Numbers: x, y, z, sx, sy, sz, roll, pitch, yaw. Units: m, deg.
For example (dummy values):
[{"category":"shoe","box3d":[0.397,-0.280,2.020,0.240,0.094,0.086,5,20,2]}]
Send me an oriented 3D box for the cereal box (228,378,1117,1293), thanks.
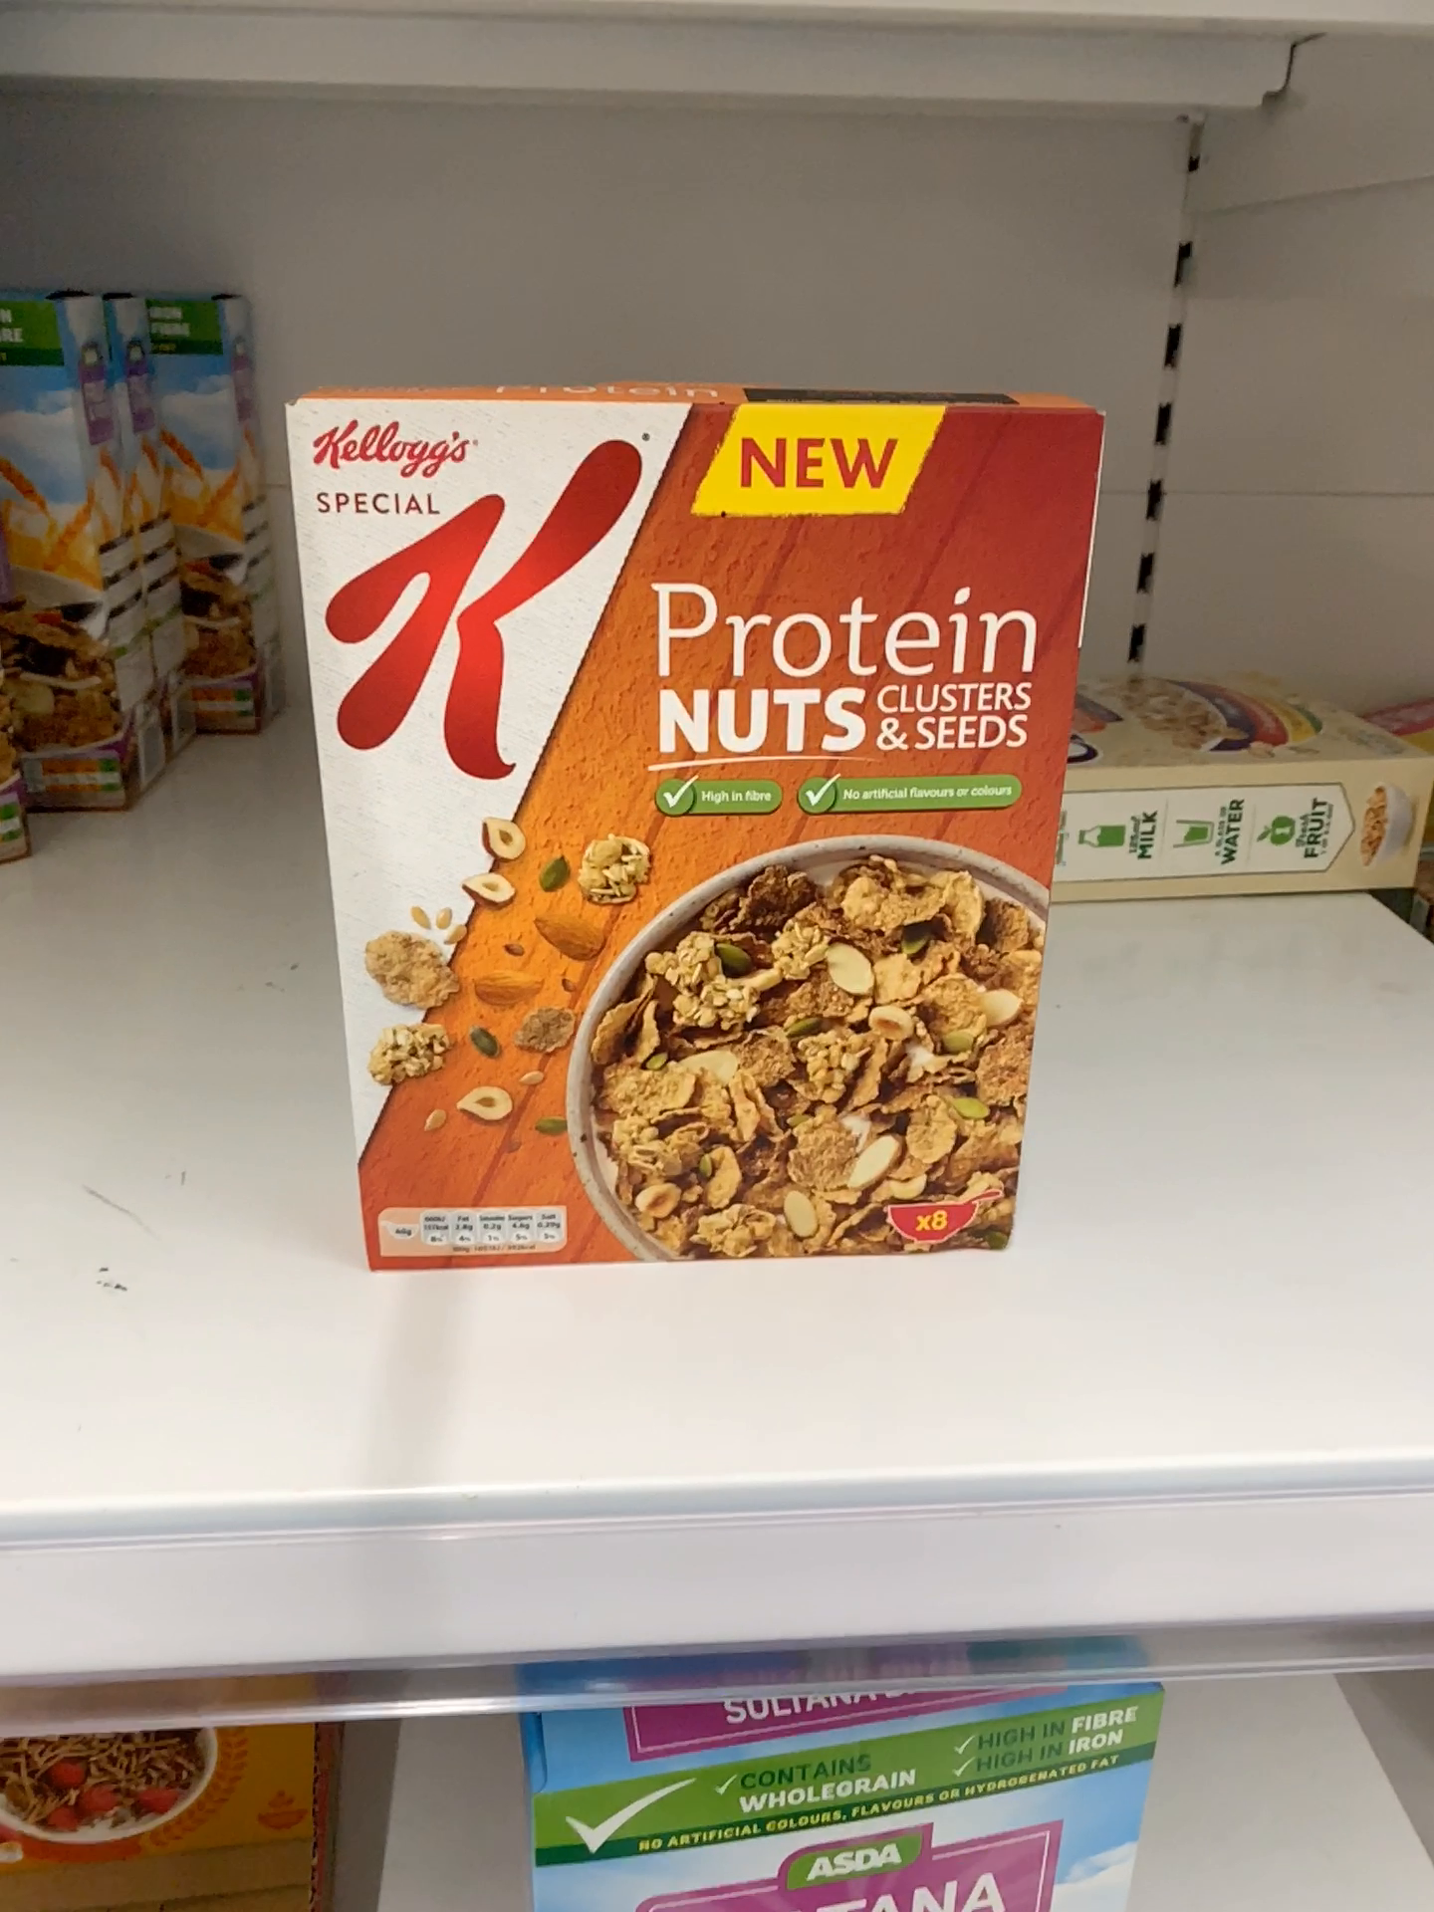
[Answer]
[{"category":"cereal box","box3d":[-0.012,-0.030,0.410,0.200,0.238,0.071,-1,23,-4]}]
